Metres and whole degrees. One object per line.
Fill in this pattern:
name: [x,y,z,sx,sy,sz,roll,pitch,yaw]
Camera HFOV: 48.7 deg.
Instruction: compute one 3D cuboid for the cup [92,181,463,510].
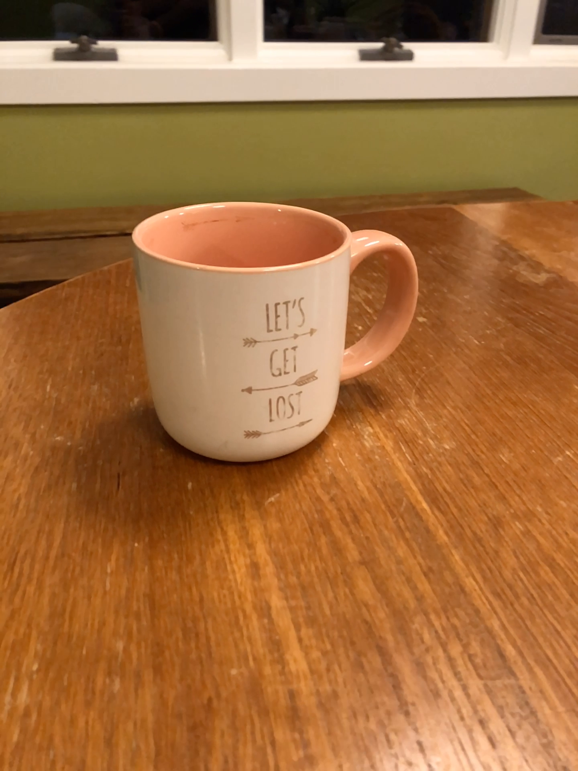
cup: [-0.006,-0.031,0.322,0.144,0.106,0.094,-17,35,-28]
